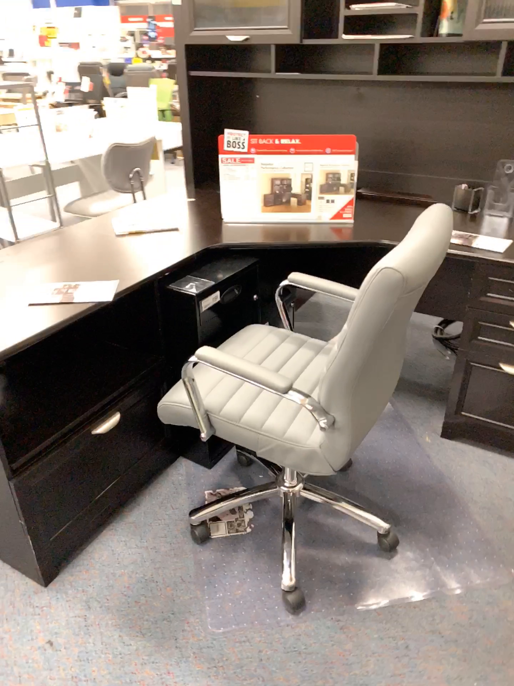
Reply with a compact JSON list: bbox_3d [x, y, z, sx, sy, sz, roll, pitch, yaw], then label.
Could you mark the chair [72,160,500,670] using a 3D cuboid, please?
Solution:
[{"bbox_3d":[0.097,0.104,1.385,0.708,0.962,0.659,17,34,28],"label":"chair"}]
